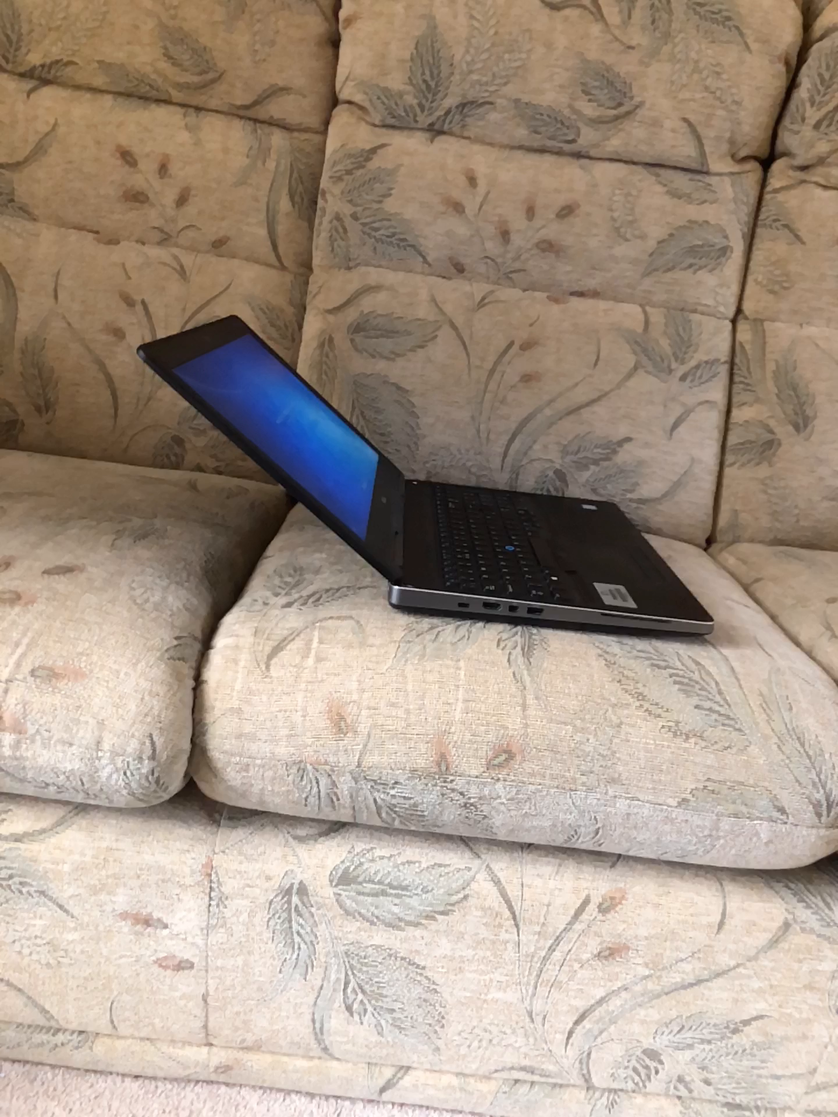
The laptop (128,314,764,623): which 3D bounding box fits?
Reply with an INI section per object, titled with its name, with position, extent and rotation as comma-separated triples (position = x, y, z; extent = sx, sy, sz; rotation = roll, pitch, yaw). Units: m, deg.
[laptop]
position = 0.012, -0.105, 0.853
extent = 0.451, 0.157, 0.357
rotation = 7, 20, -2
